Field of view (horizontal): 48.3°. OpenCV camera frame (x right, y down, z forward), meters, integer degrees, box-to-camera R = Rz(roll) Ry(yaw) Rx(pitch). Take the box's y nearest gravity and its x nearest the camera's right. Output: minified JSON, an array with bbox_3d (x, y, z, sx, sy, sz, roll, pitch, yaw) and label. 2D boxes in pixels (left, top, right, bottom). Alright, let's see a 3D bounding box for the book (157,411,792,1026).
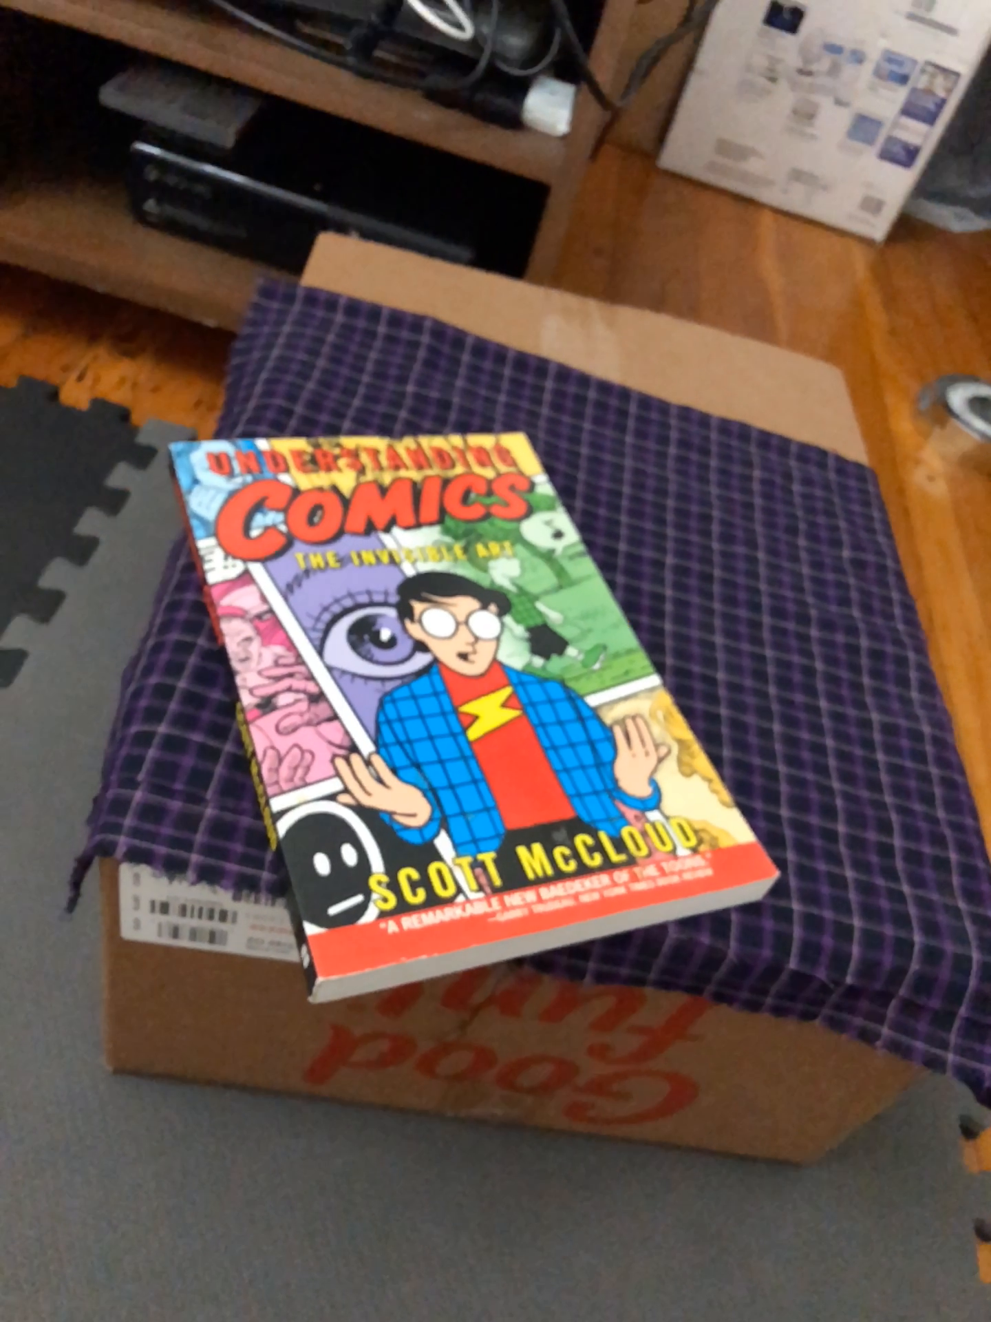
[{"bbox_3d":[-0.023,-0.007,0.435,0.170,0.020,0.271,-6,50,-24],"label":"book"}]
